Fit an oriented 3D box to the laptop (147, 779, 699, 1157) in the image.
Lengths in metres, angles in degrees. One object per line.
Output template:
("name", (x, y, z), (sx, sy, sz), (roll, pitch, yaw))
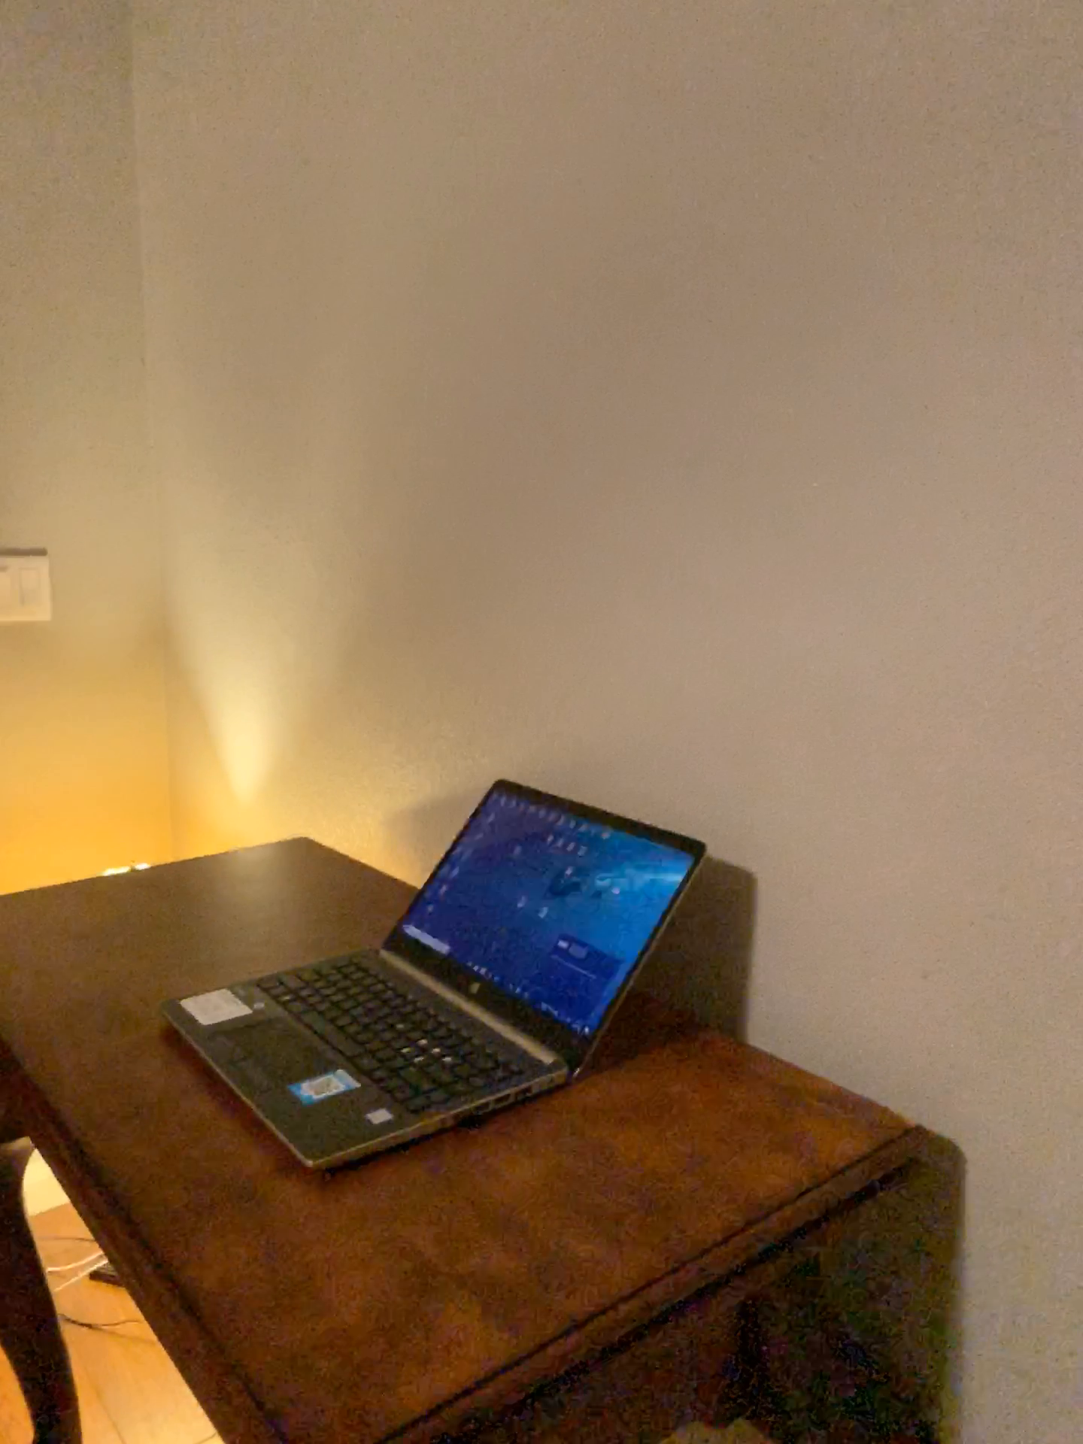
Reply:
("laptop", (-0.107, 0.177, 0.971), (0.367, 0.152, 0.318), (-7, 12, -36))
